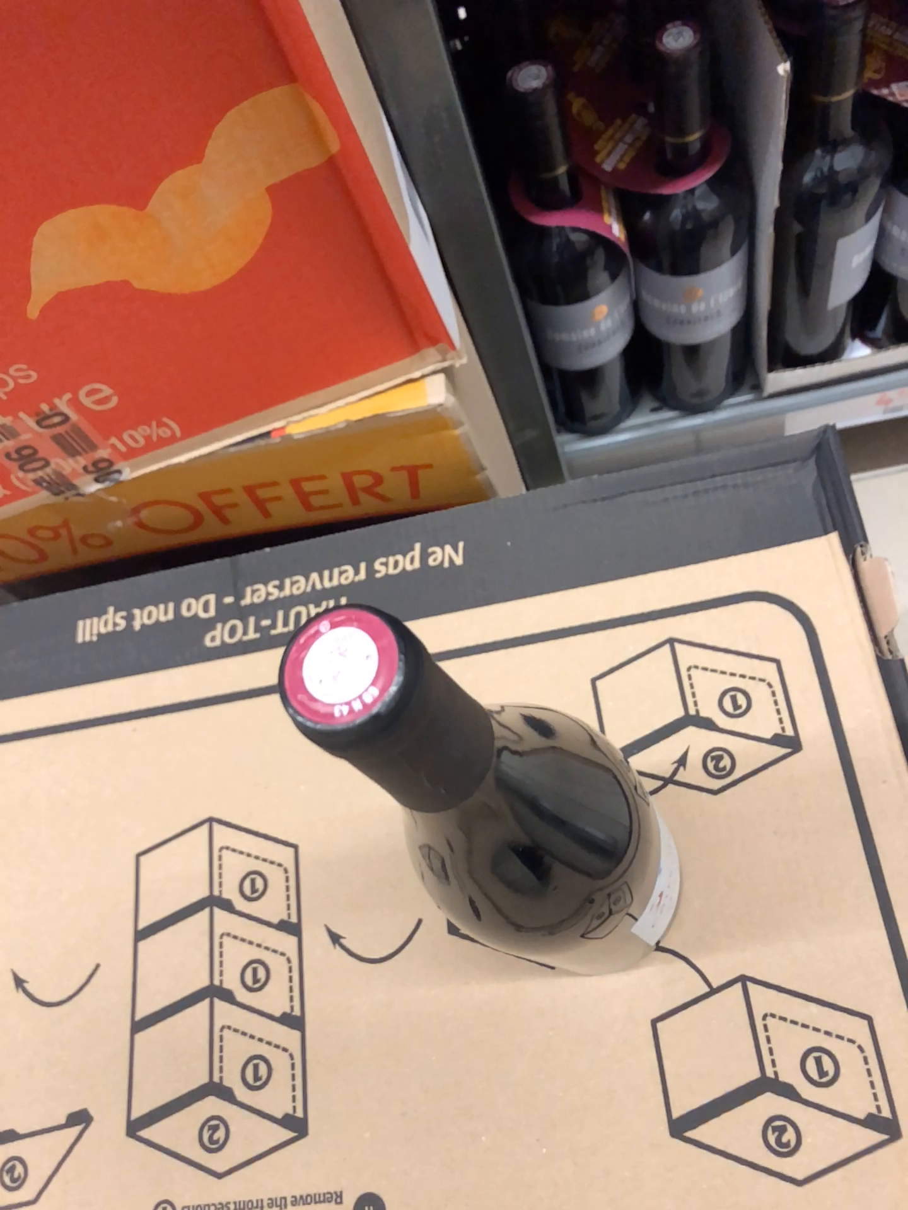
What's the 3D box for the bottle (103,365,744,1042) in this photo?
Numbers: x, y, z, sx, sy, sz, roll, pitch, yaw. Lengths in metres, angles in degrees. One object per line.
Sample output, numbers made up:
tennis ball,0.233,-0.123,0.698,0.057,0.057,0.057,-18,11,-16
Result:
bottle,0.023,0.063,0.305,0.090,0.290,0.100,-18,65,11
